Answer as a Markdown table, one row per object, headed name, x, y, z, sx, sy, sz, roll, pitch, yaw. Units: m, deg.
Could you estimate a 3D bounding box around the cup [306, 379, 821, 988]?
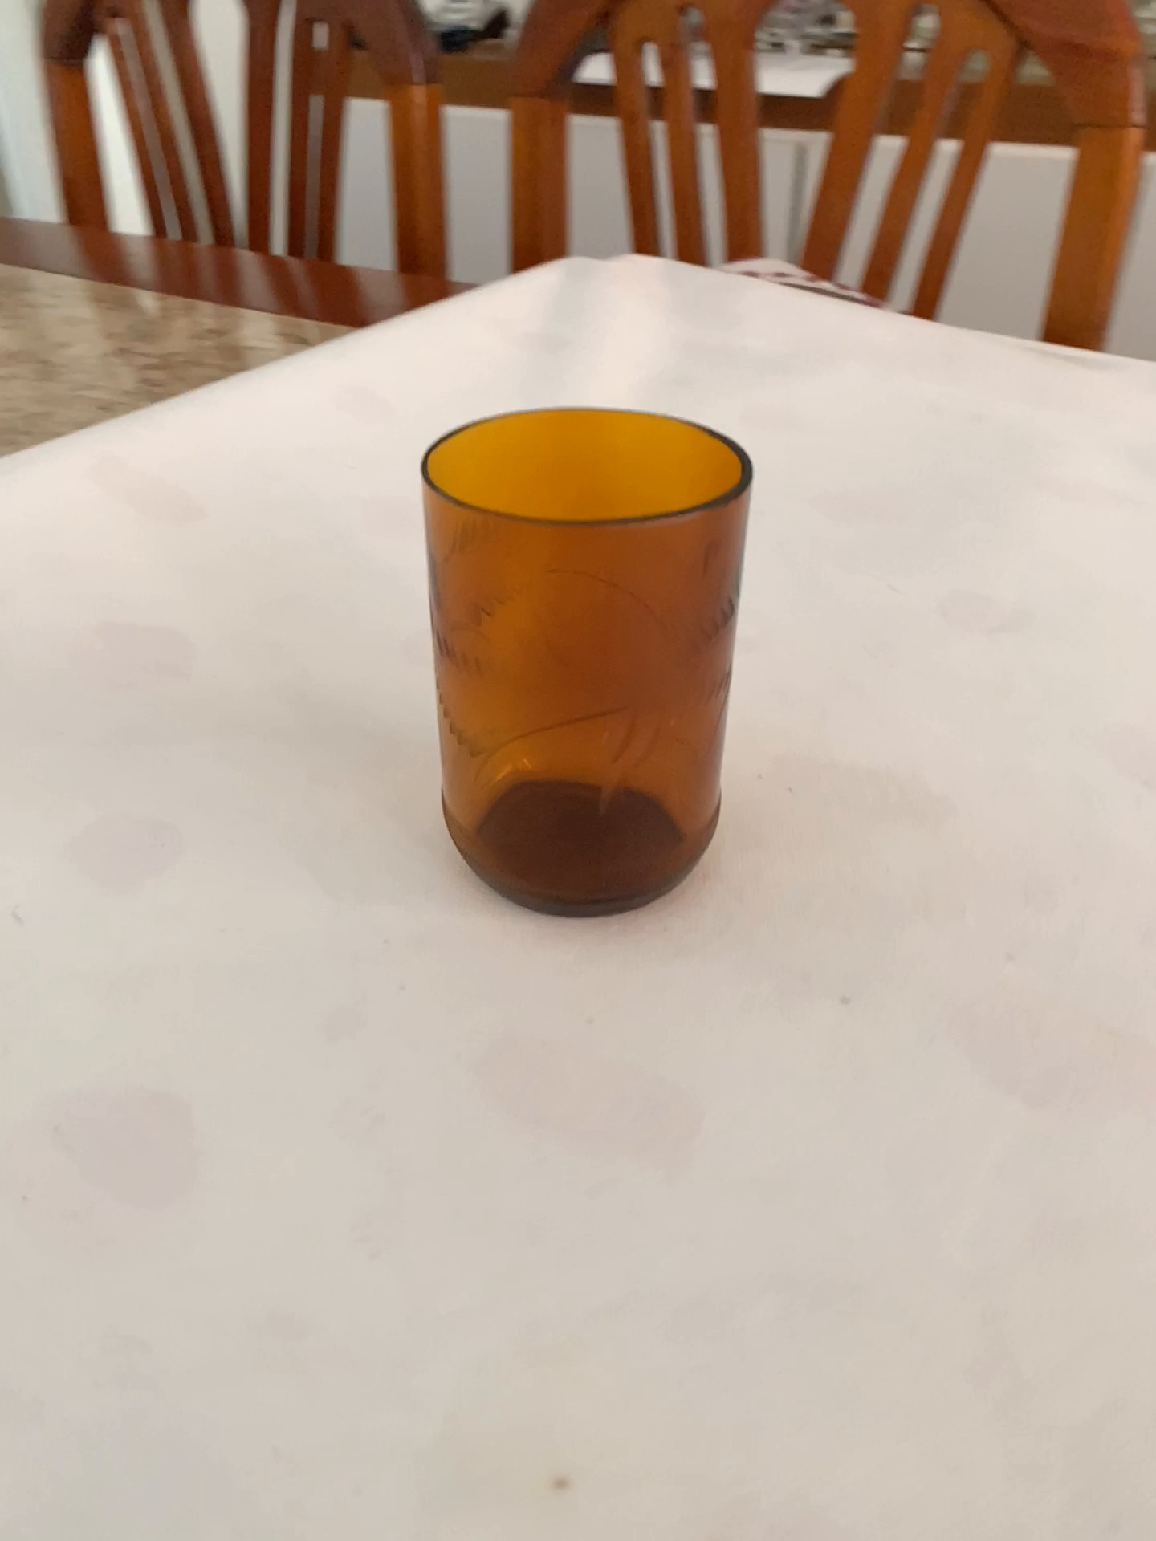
| name | x | y | z | sx | sy | sz | roll | pitch | yaw |
| --- | --- | --- | --- | --- | --- | --- | --- | --- | --- |
| cup | -0.001 | -0.022 | 0.248 | 0.070 | 0.089 | 0.070 | 0 | 34 | 0 |
